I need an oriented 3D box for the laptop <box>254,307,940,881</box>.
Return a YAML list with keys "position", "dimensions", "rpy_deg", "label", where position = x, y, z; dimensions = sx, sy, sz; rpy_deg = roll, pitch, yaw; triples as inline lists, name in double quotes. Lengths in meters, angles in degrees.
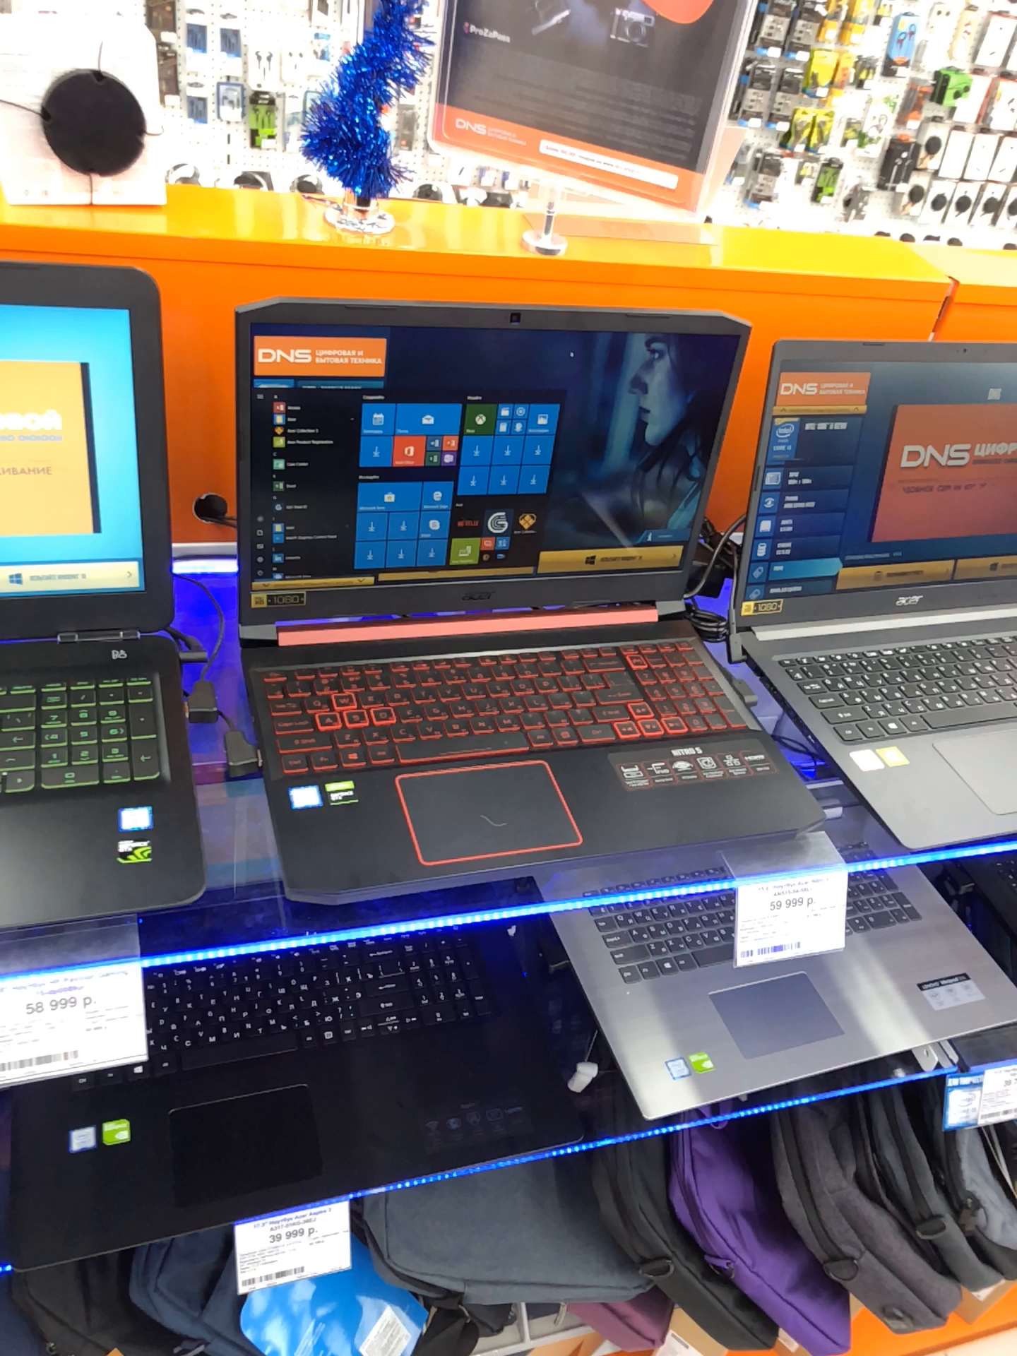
- position: [0.025, -0.067, 0.710]
  dimensions: [0.329, 0.231, 0.251]
  rpy_deg: [-4, 39, -20]
  label: "laptop"
